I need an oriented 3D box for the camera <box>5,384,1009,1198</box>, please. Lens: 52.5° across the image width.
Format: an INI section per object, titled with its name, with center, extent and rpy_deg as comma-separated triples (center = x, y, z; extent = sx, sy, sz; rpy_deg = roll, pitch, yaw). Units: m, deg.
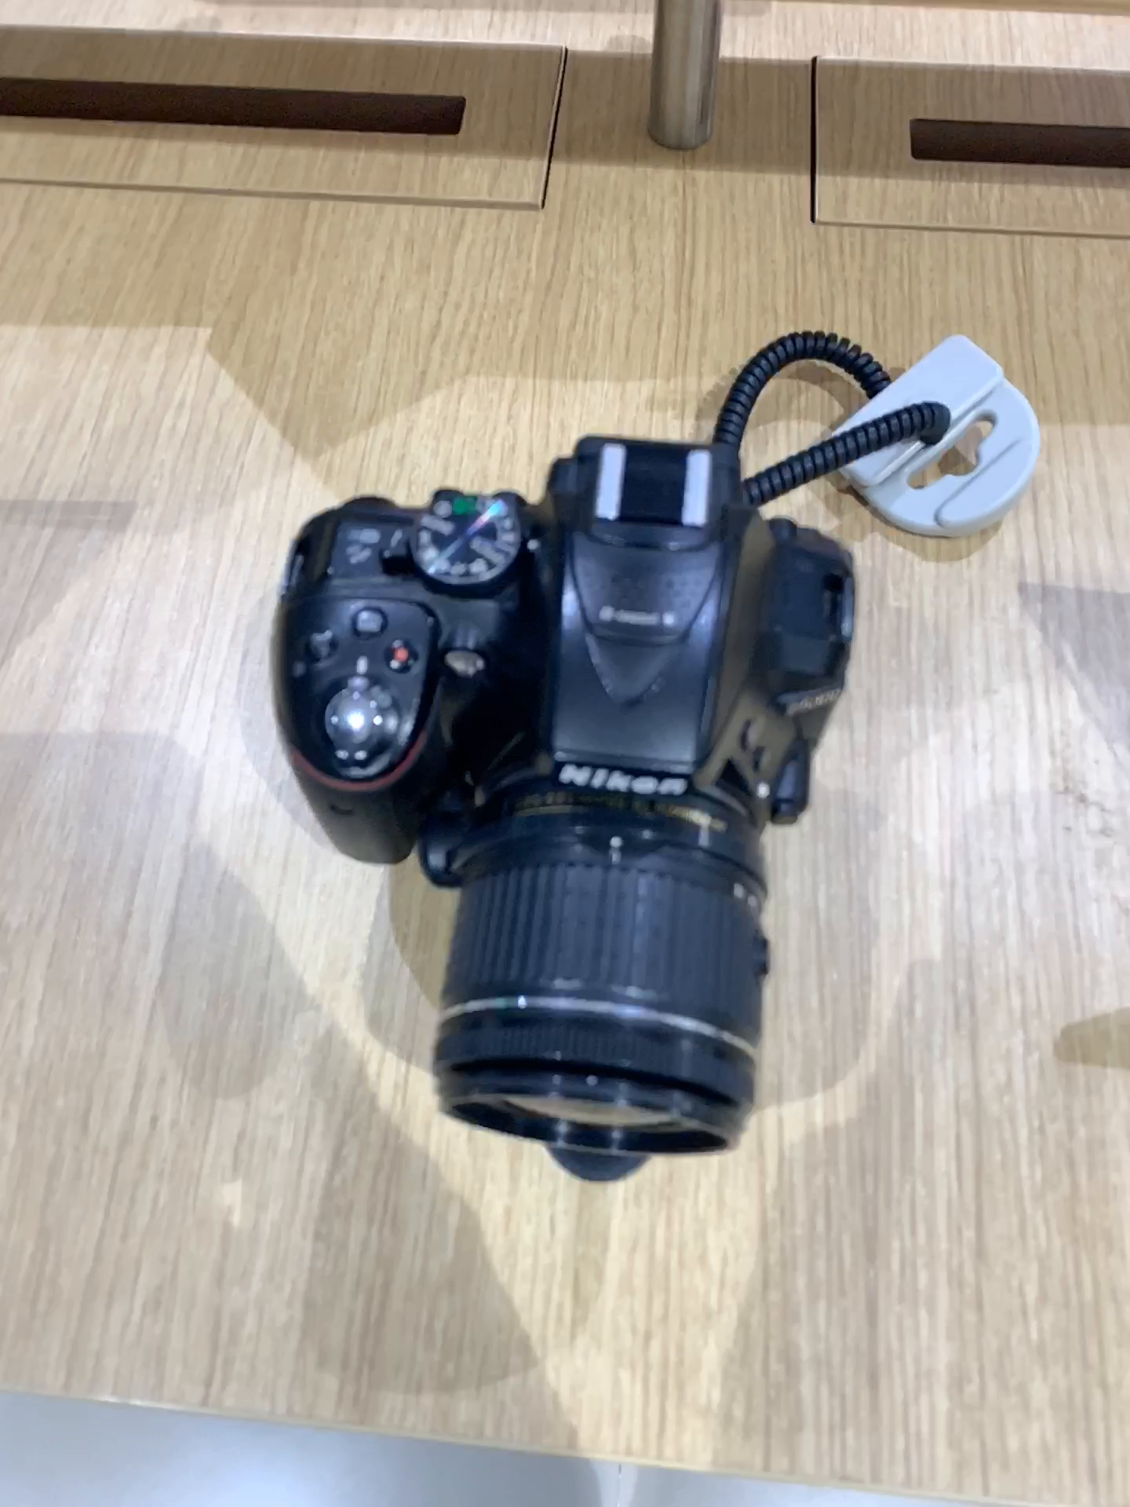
[camera]
center = -0.004, 0.009, 0.210
extent = 0.130, 0.080, 0.120
rpy_deg = 3, 64, 3
